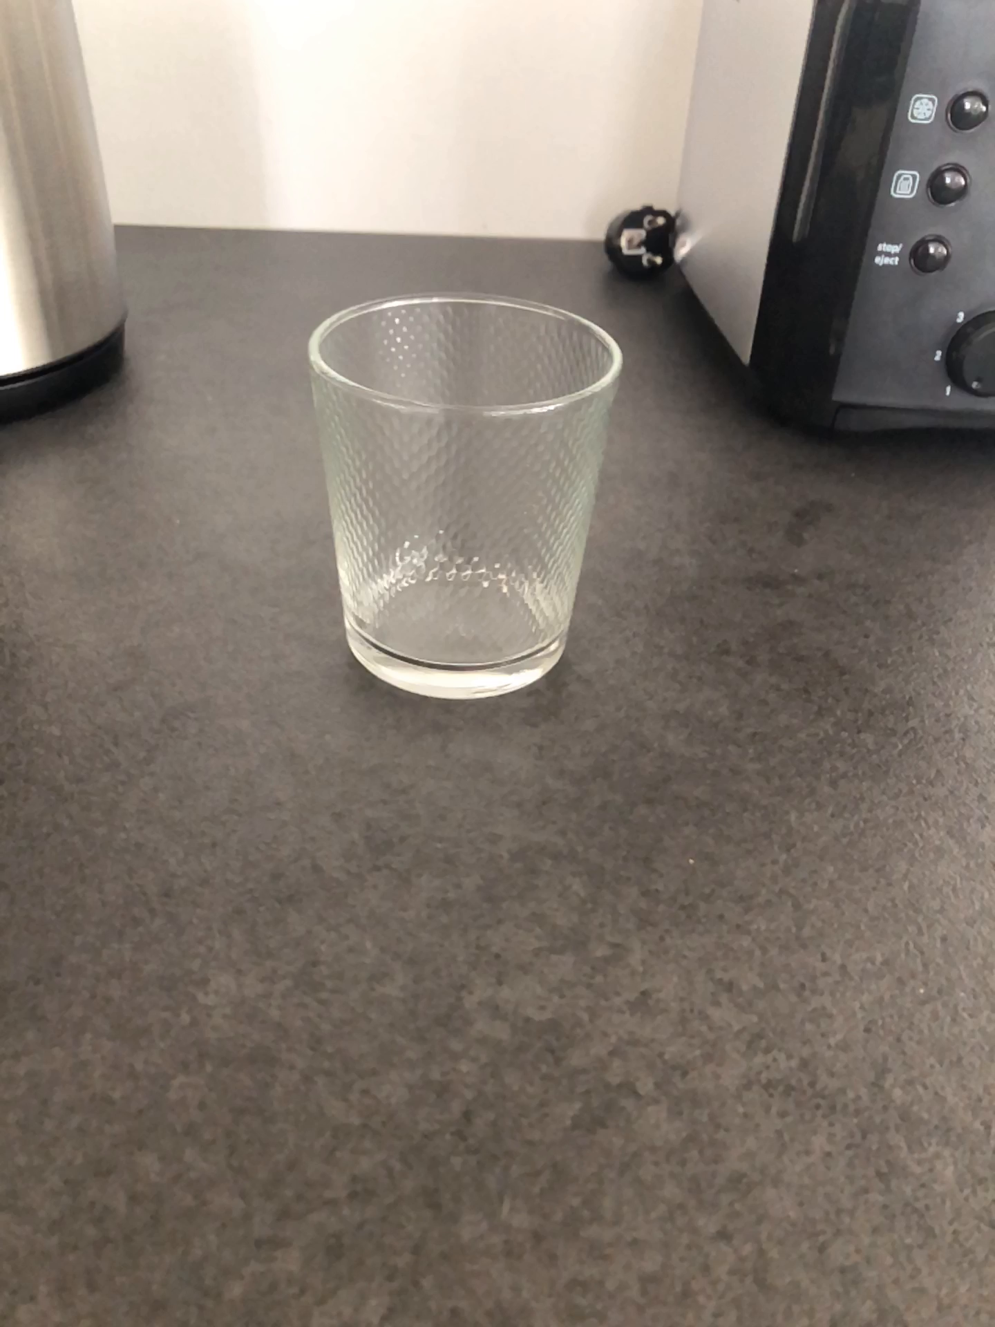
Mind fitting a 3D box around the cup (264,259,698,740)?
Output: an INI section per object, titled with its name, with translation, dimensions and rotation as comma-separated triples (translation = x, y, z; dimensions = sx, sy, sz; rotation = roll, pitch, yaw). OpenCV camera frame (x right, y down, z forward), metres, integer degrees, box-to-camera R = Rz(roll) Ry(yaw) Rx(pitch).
[cup]
translation = -0.009, -0.048, 0.295
dimensions = 0.080, 0.089, 0.080
rotation = 2, 36, -1
